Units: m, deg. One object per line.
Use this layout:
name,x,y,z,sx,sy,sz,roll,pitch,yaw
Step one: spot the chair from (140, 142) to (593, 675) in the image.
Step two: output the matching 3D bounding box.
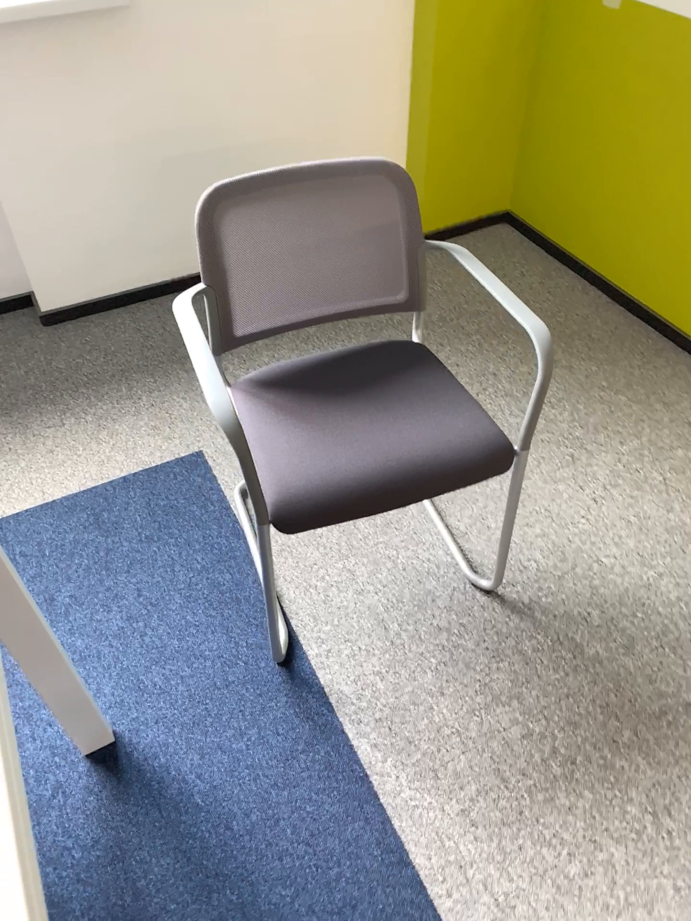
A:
chair,-0.004,-0.088,1.307,0.530,0.726,0.522,-14,47,-13
